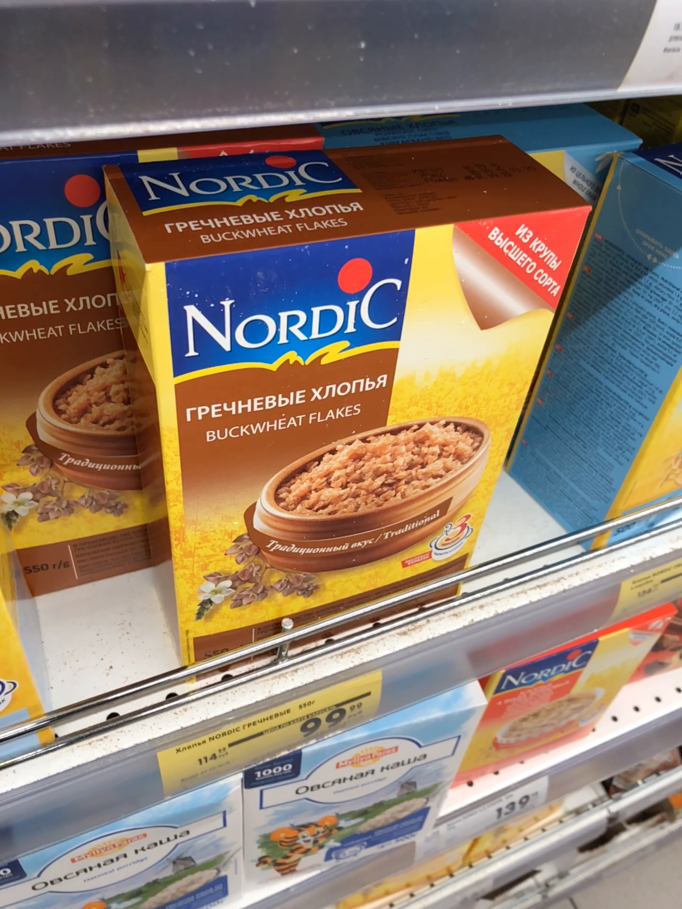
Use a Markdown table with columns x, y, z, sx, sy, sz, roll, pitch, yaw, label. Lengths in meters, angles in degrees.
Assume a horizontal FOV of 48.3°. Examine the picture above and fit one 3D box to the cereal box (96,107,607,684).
| x | y | z | sx | sy | sz | roll | pitch | yaw | label |
| --- | --- | --- | --- | --- | --- | --- | --- | --- | --- |
| -0.005 | -0.014 | 0.304 | 0.140 | 0.209 | 0.070 | -14 | 48 | -20 | cereal box |
